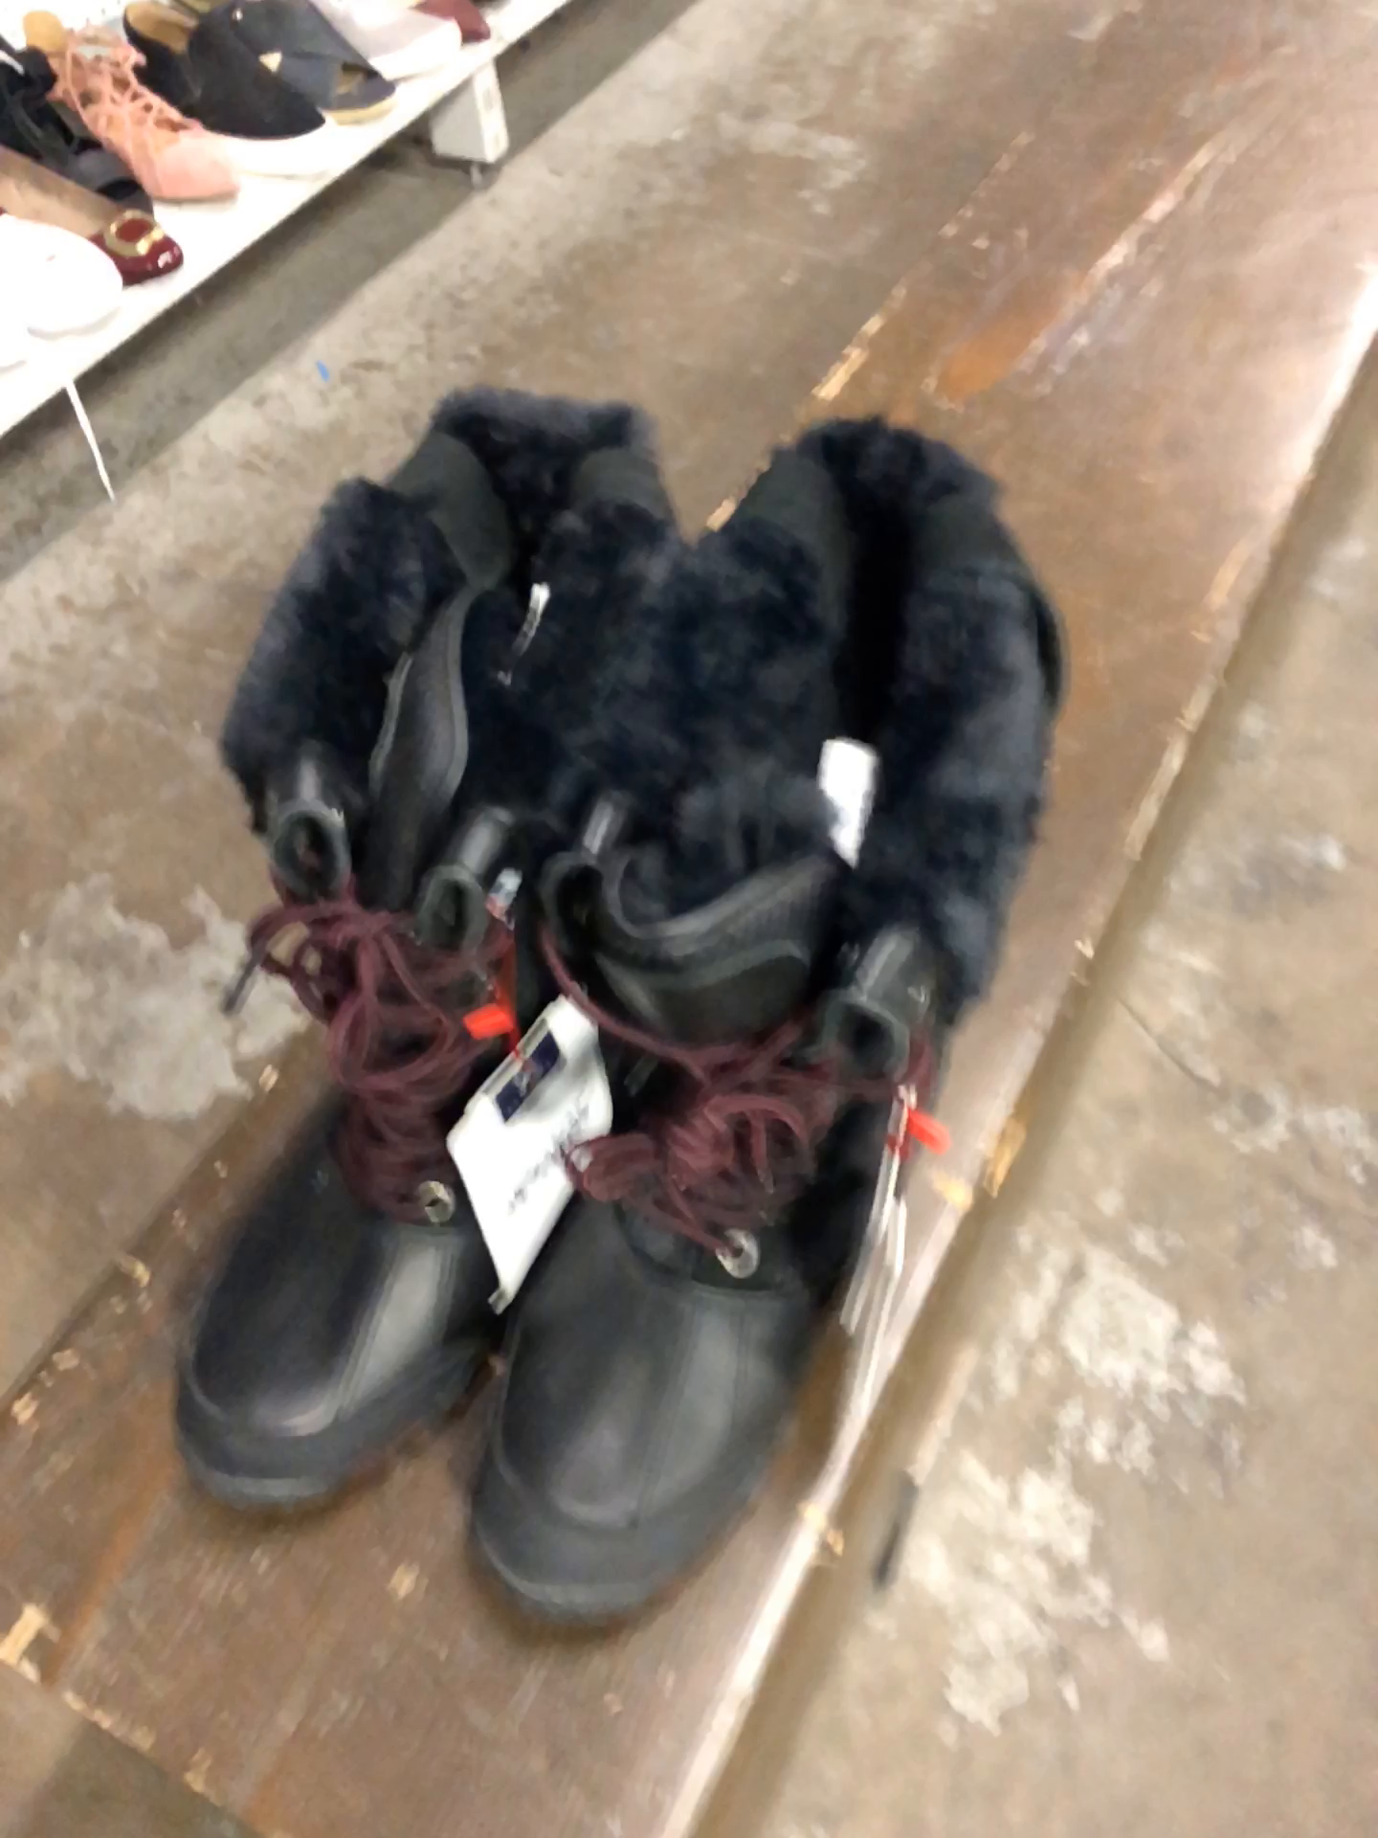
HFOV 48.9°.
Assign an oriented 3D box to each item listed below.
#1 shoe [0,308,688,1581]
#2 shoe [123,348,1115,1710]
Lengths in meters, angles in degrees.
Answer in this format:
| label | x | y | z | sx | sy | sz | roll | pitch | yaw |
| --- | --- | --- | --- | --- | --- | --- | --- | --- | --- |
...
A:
| label | x | y | z | sx | sy | sz | roll | pitch | yaw |
| --- | --- | --- | --- | --- | --- | --- | --- | --- | --- |
| shoe | -0.094 | 0.019 | 0.416 | 0.100 | 0.259 | 0.221 | 19 | 55 | 15 |
| shoe | 0.006 | 0.040 | 0.393 | 0.100 | 0.259 | 0.231 | 19 | 55 | 15 |
